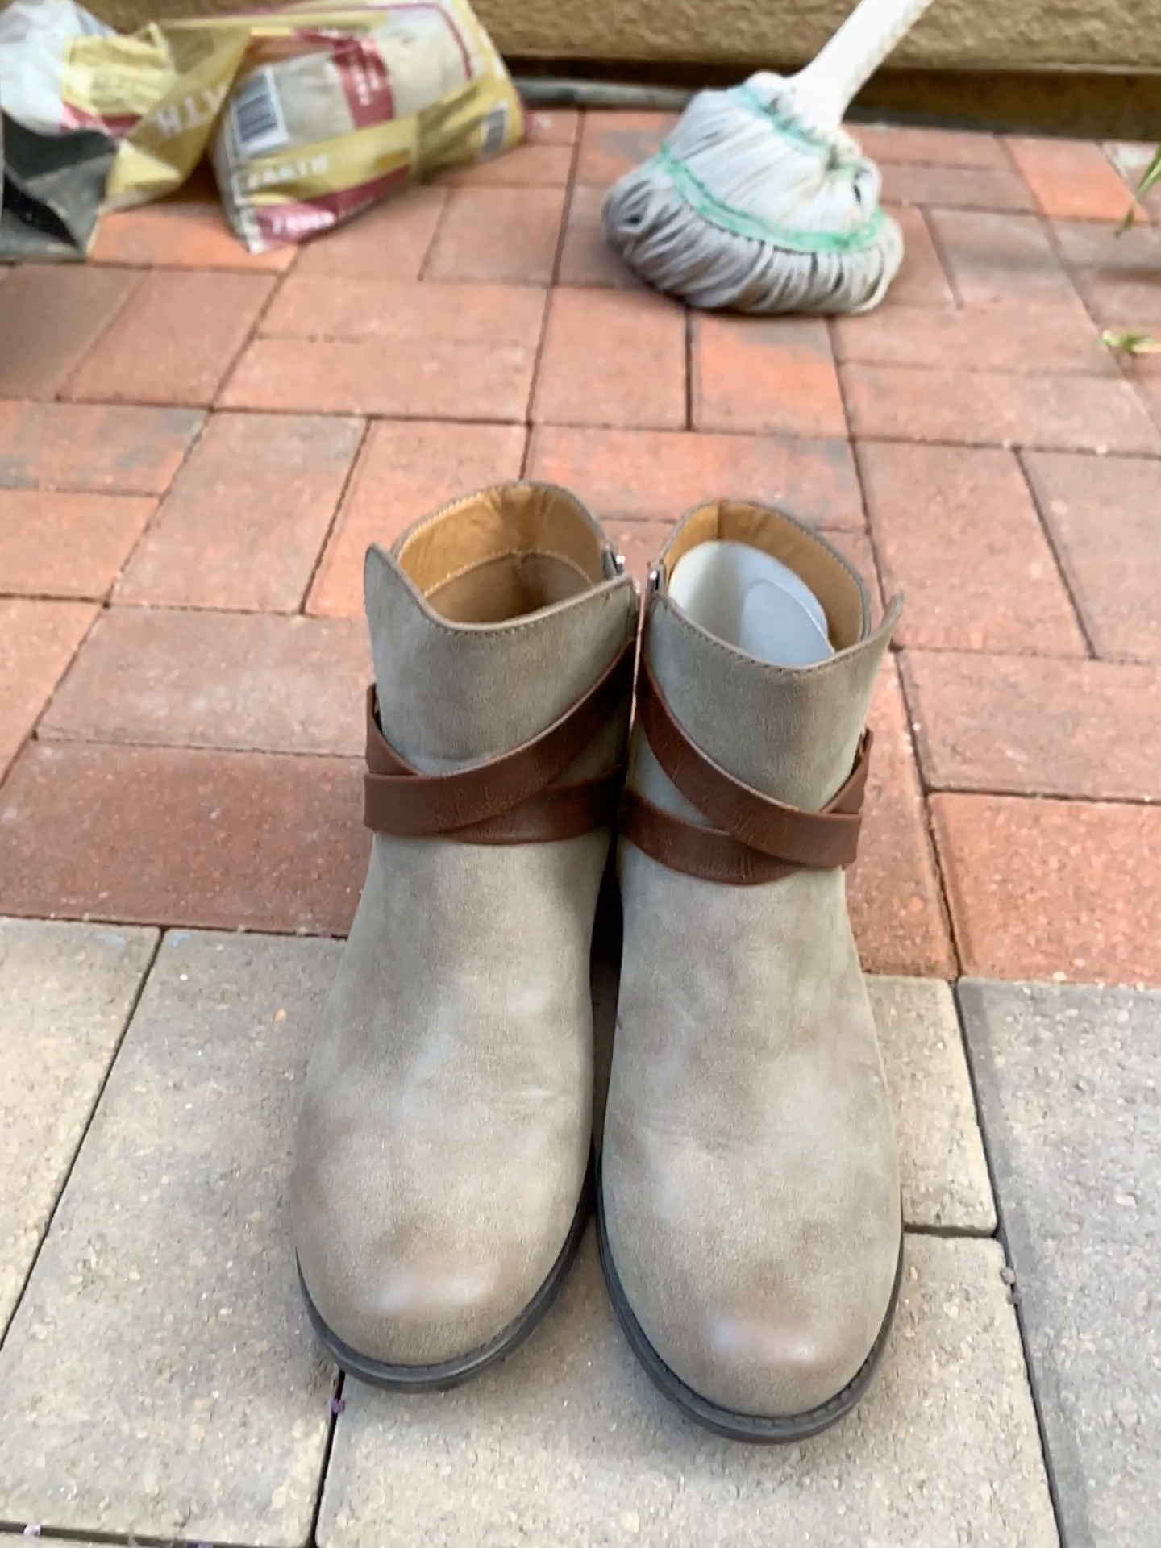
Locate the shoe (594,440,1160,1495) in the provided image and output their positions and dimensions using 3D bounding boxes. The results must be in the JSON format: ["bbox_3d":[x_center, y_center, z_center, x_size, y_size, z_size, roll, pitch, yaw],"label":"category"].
[{"bbox_3d":[0.057,0.042,0.353,0.095,0.165,0.253,2,45,1],"label":"shoe"}]

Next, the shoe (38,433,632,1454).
[{"bbox_3d":[-0.040,0.037,0.353,0.095,0.165,0.241,3,45,3],"label":"shoe"}]
